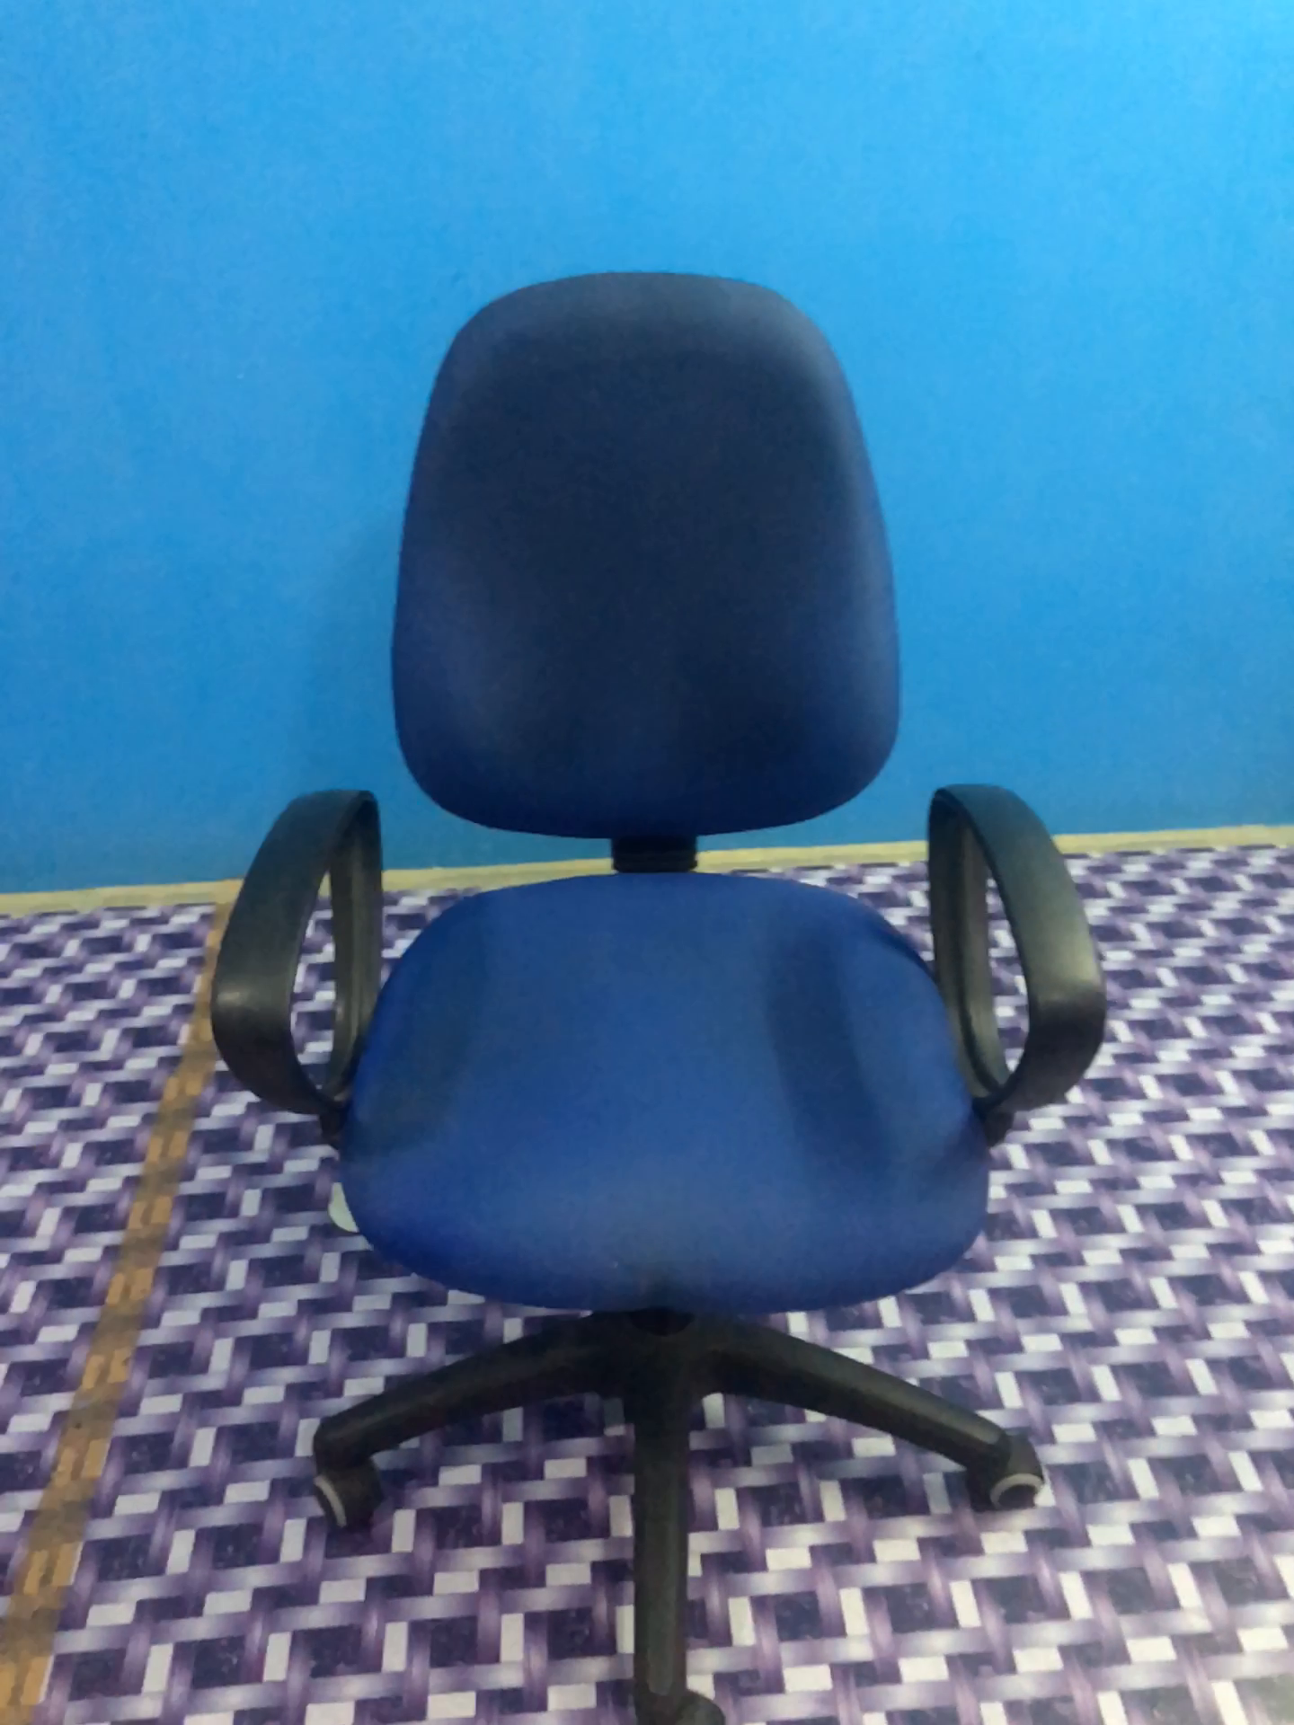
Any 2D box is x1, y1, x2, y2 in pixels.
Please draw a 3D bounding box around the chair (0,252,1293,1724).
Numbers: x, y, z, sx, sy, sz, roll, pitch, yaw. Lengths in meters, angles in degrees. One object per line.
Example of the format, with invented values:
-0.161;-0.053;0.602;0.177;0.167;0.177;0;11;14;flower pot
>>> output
0.017;0.108;1.012;0.700;0.875;0.673;-2;34;-3;chair
